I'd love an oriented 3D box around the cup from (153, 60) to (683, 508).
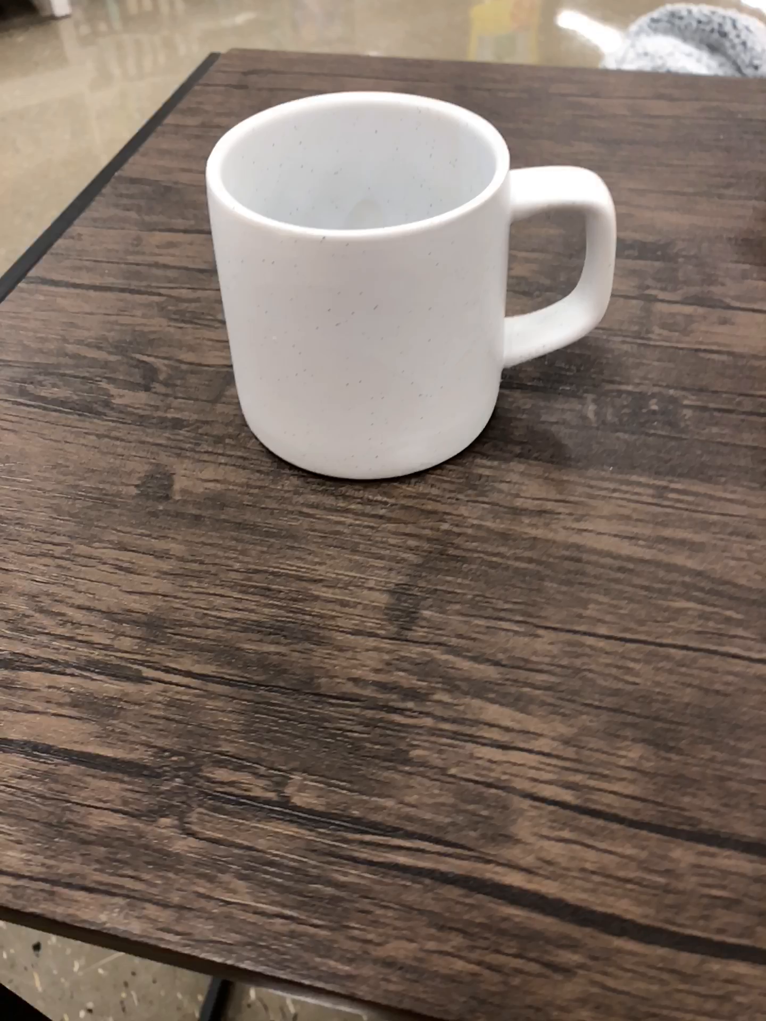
[{"bbox_3d":[0.008,-0.072,0.277,0.130,0.100,0.090,-4,47,-1],"label":"cup"}]
